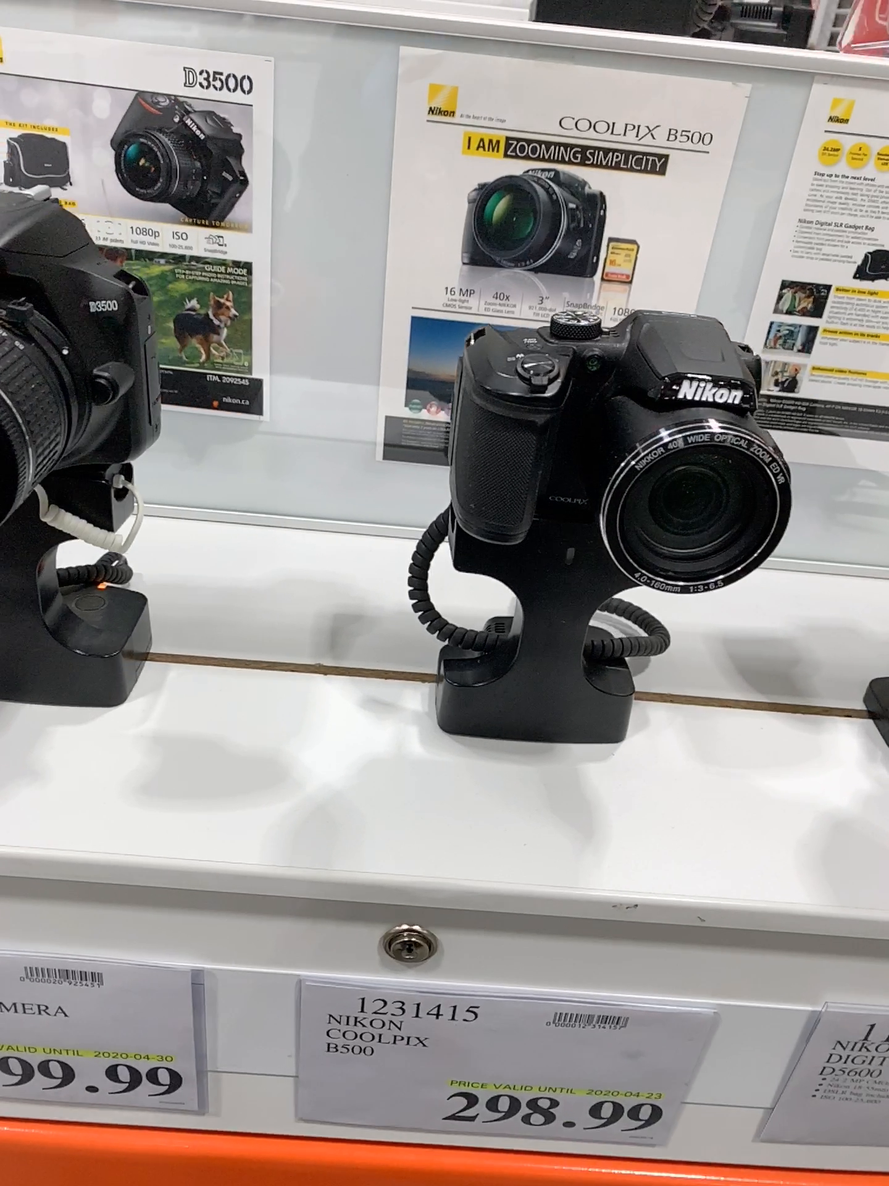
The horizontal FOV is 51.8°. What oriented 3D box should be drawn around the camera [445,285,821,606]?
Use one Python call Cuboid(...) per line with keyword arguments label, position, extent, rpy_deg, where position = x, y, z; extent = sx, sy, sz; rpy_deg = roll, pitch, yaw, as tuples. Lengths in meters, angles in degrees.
Cuboid(label="camera", position=(0.059, -0.055, 0.338), extent=(0.110, 0.089, 0.071), rpy_deg=(3, 32, -4))
